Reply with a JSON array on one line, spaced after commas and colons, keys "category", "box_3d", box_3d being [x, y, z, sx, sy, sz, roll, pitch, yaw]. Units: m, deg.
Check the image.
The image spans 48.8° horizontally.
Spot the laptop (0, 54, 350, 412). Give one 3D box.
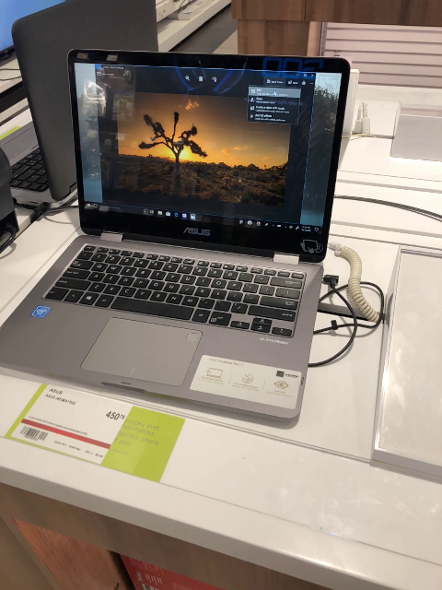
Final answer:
[{"category": "laptop", "box_3d": [-0.058, -0.087, 0.490, 0.319, 0.211, 0.291, 7, 42, 12]}]
